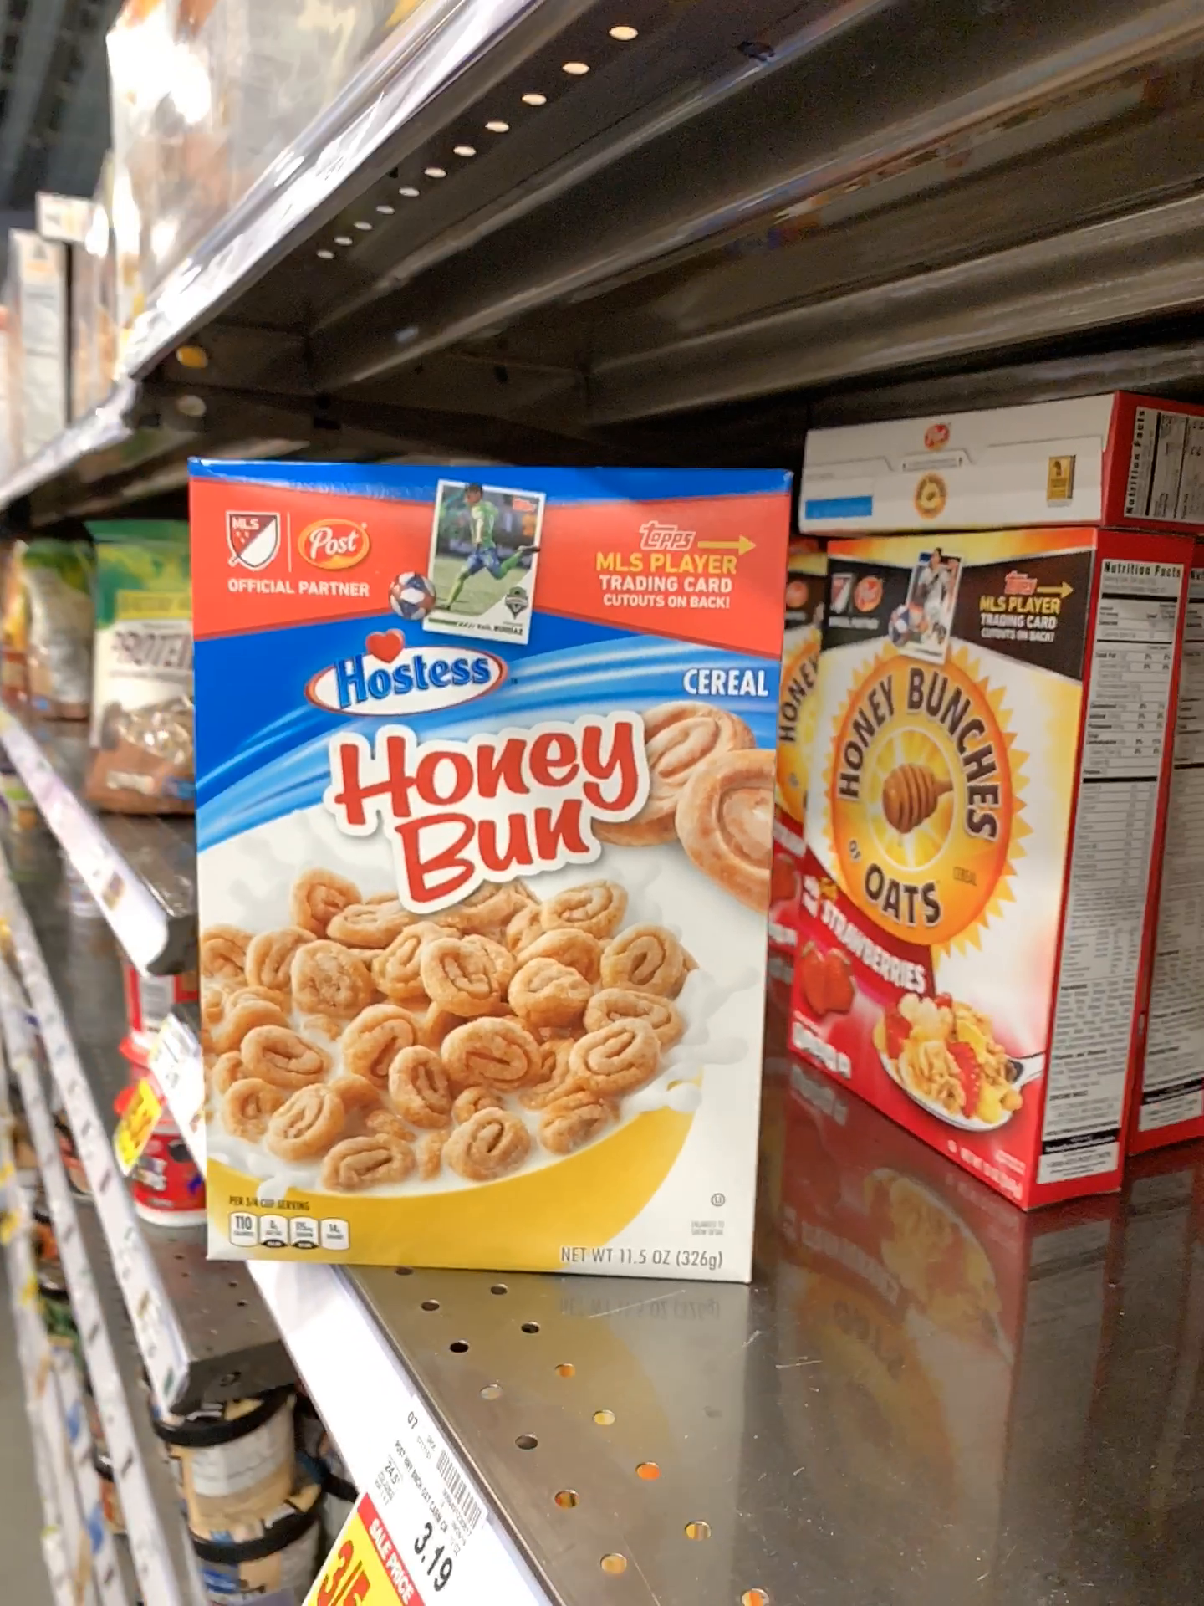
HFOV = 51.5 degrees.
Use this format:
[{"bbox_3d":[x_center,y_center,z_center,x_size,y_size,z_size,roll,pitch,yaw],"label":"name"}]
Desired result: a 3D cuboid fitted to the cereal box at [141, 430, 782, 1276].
[{"bbox_3d":[-0.049,0.021,0.441,0.200,0.279,0.060,1,8,-3],"label":"cereal box"}]
